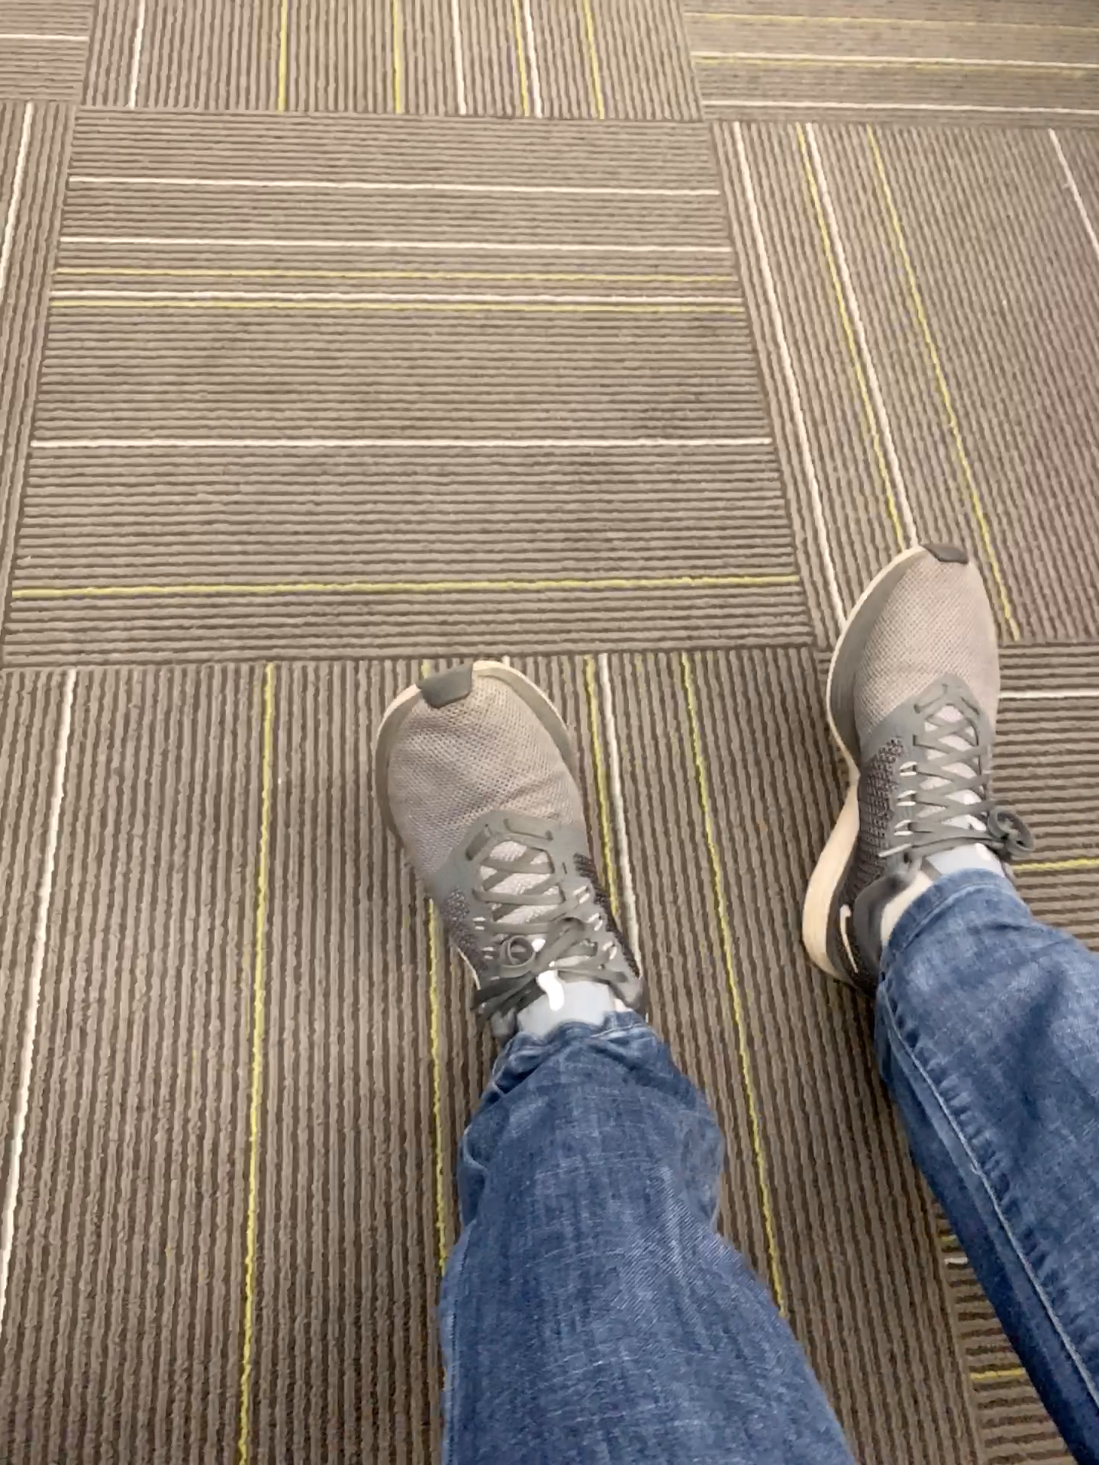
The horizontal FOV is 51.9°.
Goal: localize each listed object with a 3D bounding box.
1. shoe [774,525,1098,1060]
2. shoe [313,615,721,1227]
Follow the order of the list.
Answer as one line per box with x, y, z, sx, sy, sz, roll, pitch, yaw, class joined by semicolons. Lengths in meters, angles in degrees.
0.229;0.031;0.677;0.119;0.122;0.294;2;101;-10;shoe
-0.011;0.108;0.606;0.119;0.293;0.122;-21;34;-6;shoe
